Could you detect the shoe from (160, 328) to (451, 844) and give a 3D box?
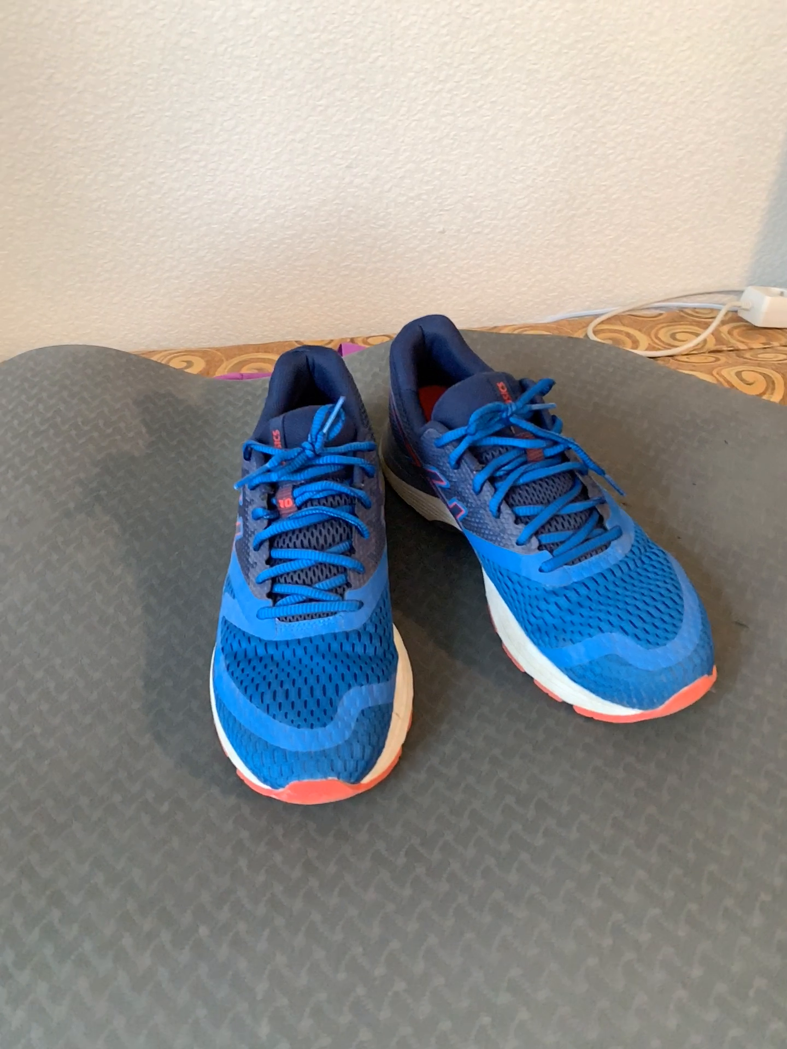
[{"bbox_3d":[-0.048,0.013,0.479,0.120,0.109,0.302,-5,44,-3],"label":"shoe"}]

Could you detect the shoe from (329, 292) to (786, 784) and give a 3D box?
[{"bbox_3d":[0.081,-0.016,0.497,0.120,0.109,0.301,-21,47,-19],"label":"shoe"}]
